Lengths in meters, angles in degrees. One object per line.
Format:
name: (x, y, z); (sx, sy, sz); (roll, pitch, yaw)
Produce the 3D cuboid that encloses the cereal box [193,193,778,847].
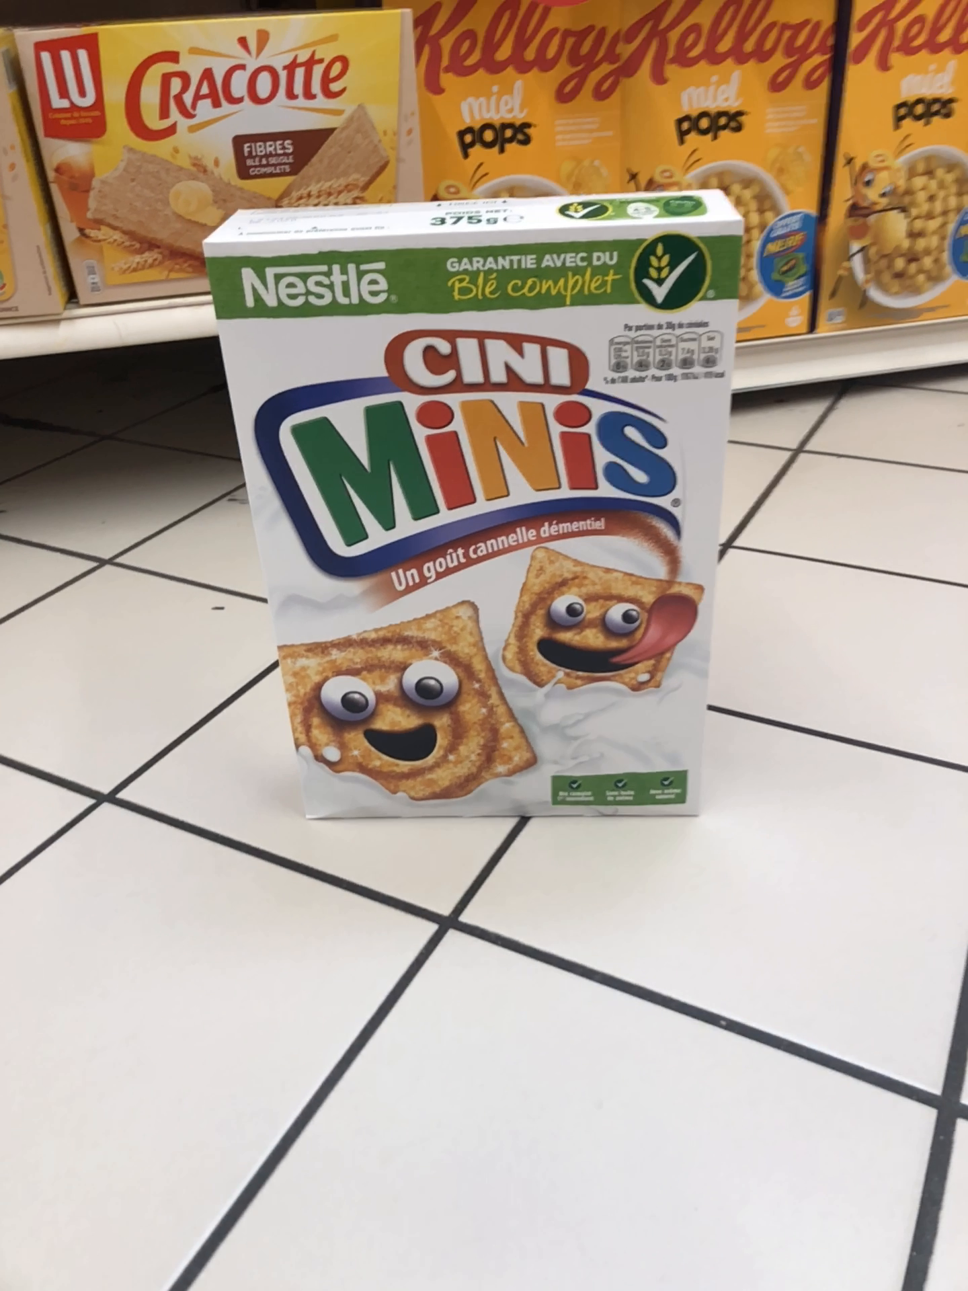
cereal box: (0.006, -0.042, 0.461); (0.200, 0.268, 0.070); (-2, 30, 2)
